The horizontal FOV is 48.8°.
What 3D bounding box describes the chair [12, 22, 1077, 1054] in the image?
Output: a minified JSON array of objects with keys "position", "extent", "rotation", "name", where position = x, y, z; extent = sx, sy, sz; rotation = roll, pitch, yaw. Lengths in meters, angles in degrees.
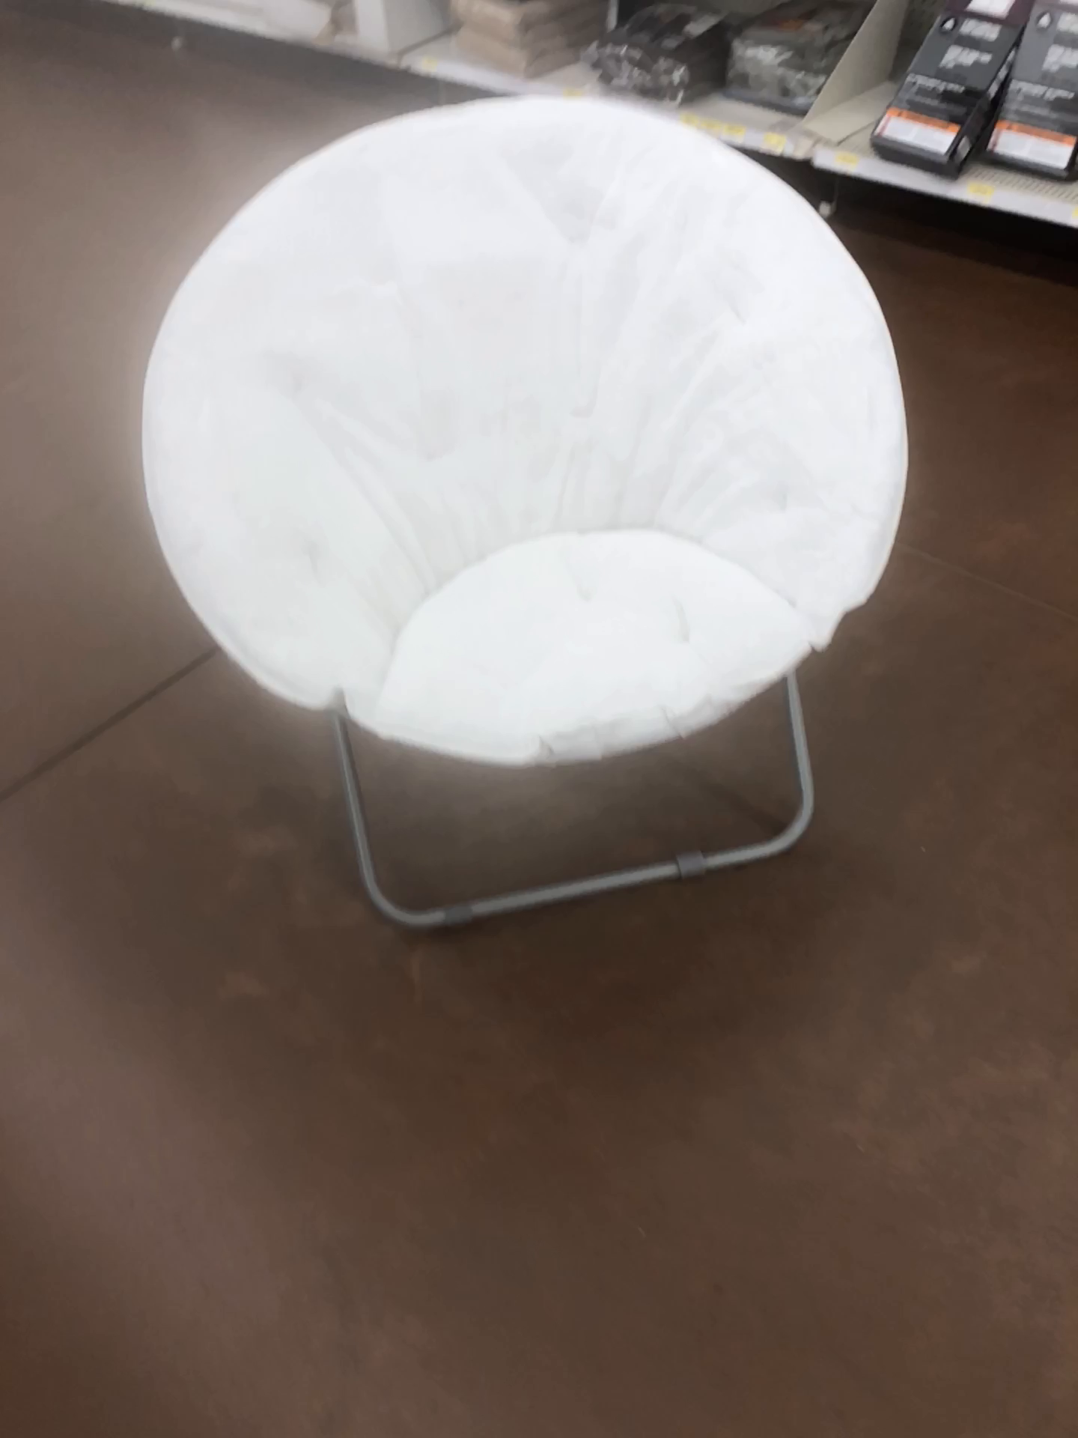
[{"position":[0.008,-0.217,1.268],"extent":[0.760,0.647,0.753],"rotation":[-11,45,-3],"name":"chair"}]
